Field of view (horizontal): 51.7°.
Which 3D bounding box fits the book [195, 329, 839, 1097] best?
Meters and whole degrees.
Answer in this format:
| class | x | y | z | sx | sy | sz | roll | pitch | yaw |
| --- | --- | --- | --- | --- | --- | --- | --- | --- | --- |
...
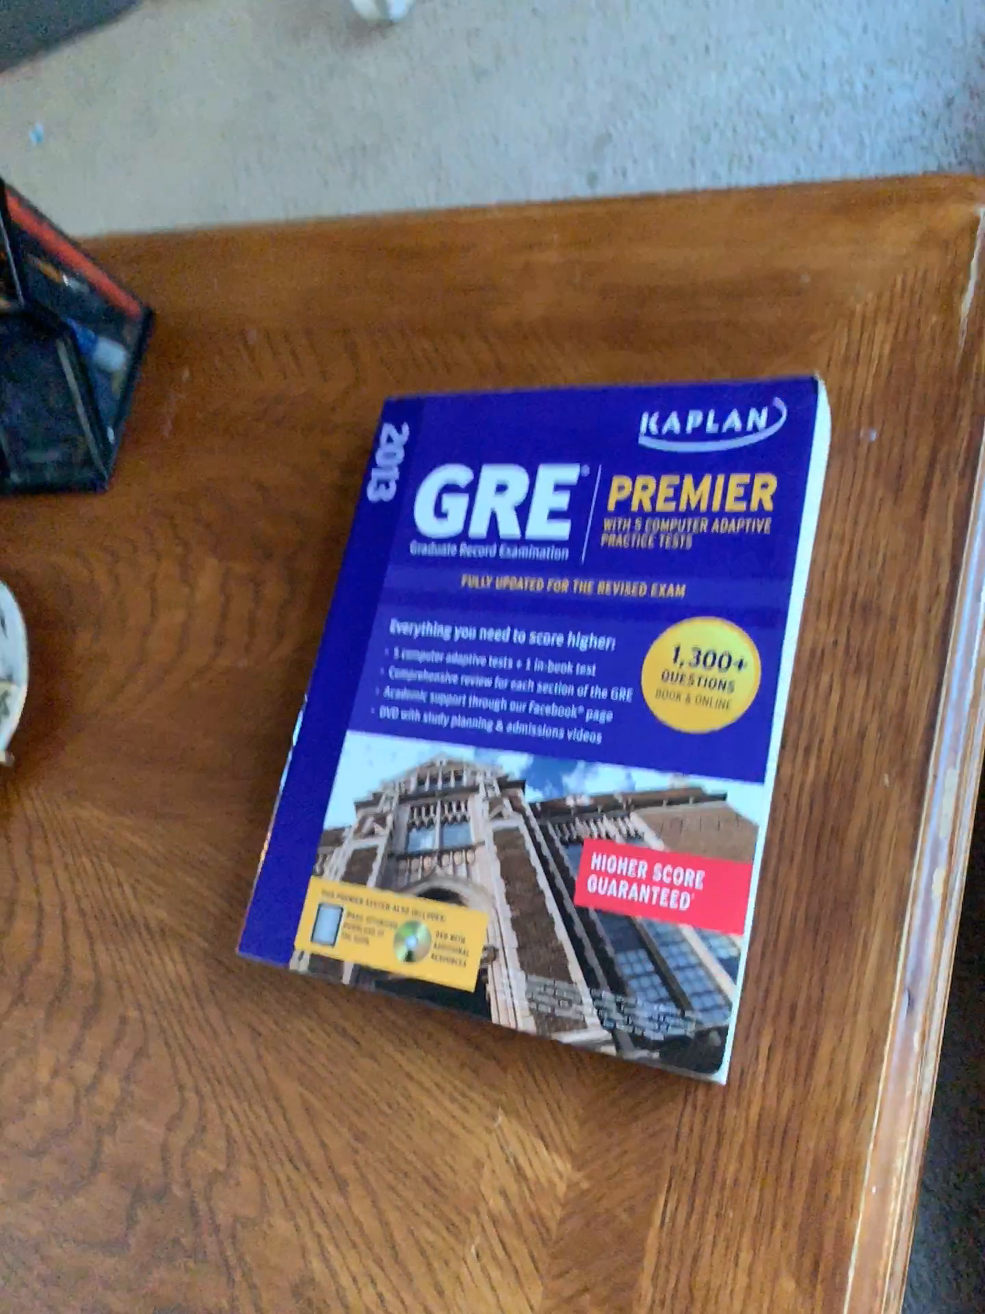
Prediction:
| class | x | y | z | sx | sy | sz | roll | pitch | yaw |
| --- | --- | --- | --- | --- | --- | --- | --- | --- | --- |
| book | 0.015 | 0.007 | 0.444 | 0.221 | 0.060 | 0.290 | 5 | 74 | 26 |
